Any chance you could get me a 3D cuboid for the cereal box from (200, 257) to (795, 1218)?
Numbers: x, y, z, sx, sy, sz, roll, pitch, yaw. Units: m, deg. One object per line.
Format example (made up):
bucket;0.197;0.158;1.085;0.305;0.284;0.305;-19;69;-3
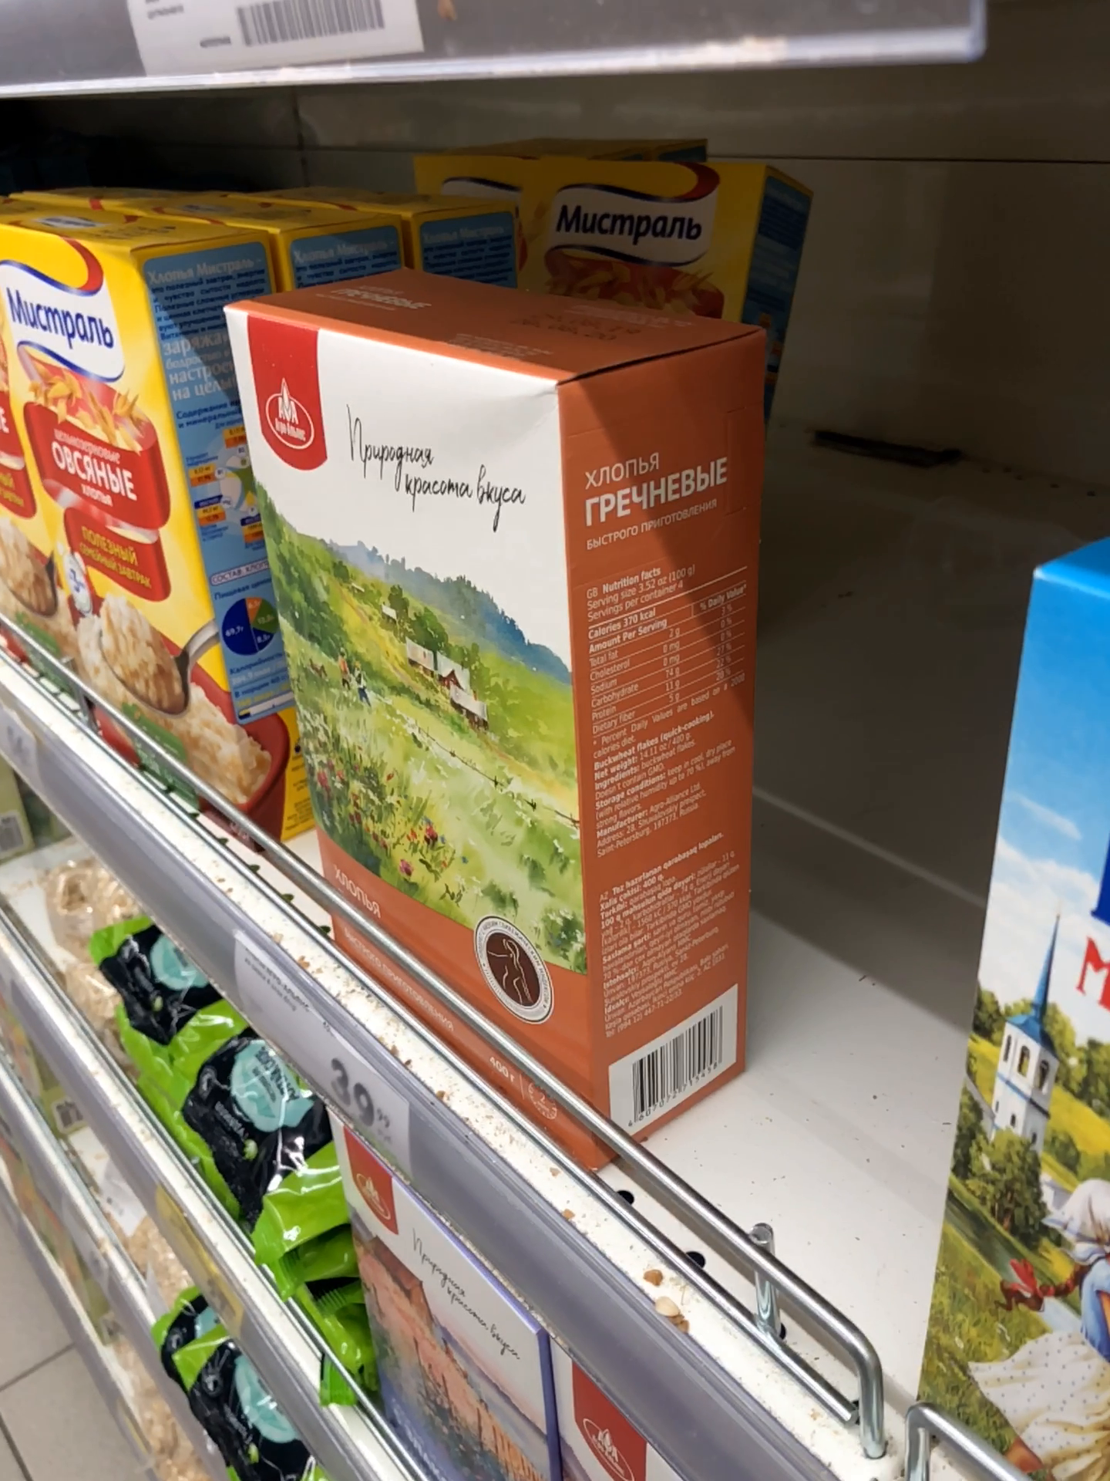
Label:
cereal box;-0.015;-0.006;0.309;0.060;0.199;0.130;-23;35;-33
